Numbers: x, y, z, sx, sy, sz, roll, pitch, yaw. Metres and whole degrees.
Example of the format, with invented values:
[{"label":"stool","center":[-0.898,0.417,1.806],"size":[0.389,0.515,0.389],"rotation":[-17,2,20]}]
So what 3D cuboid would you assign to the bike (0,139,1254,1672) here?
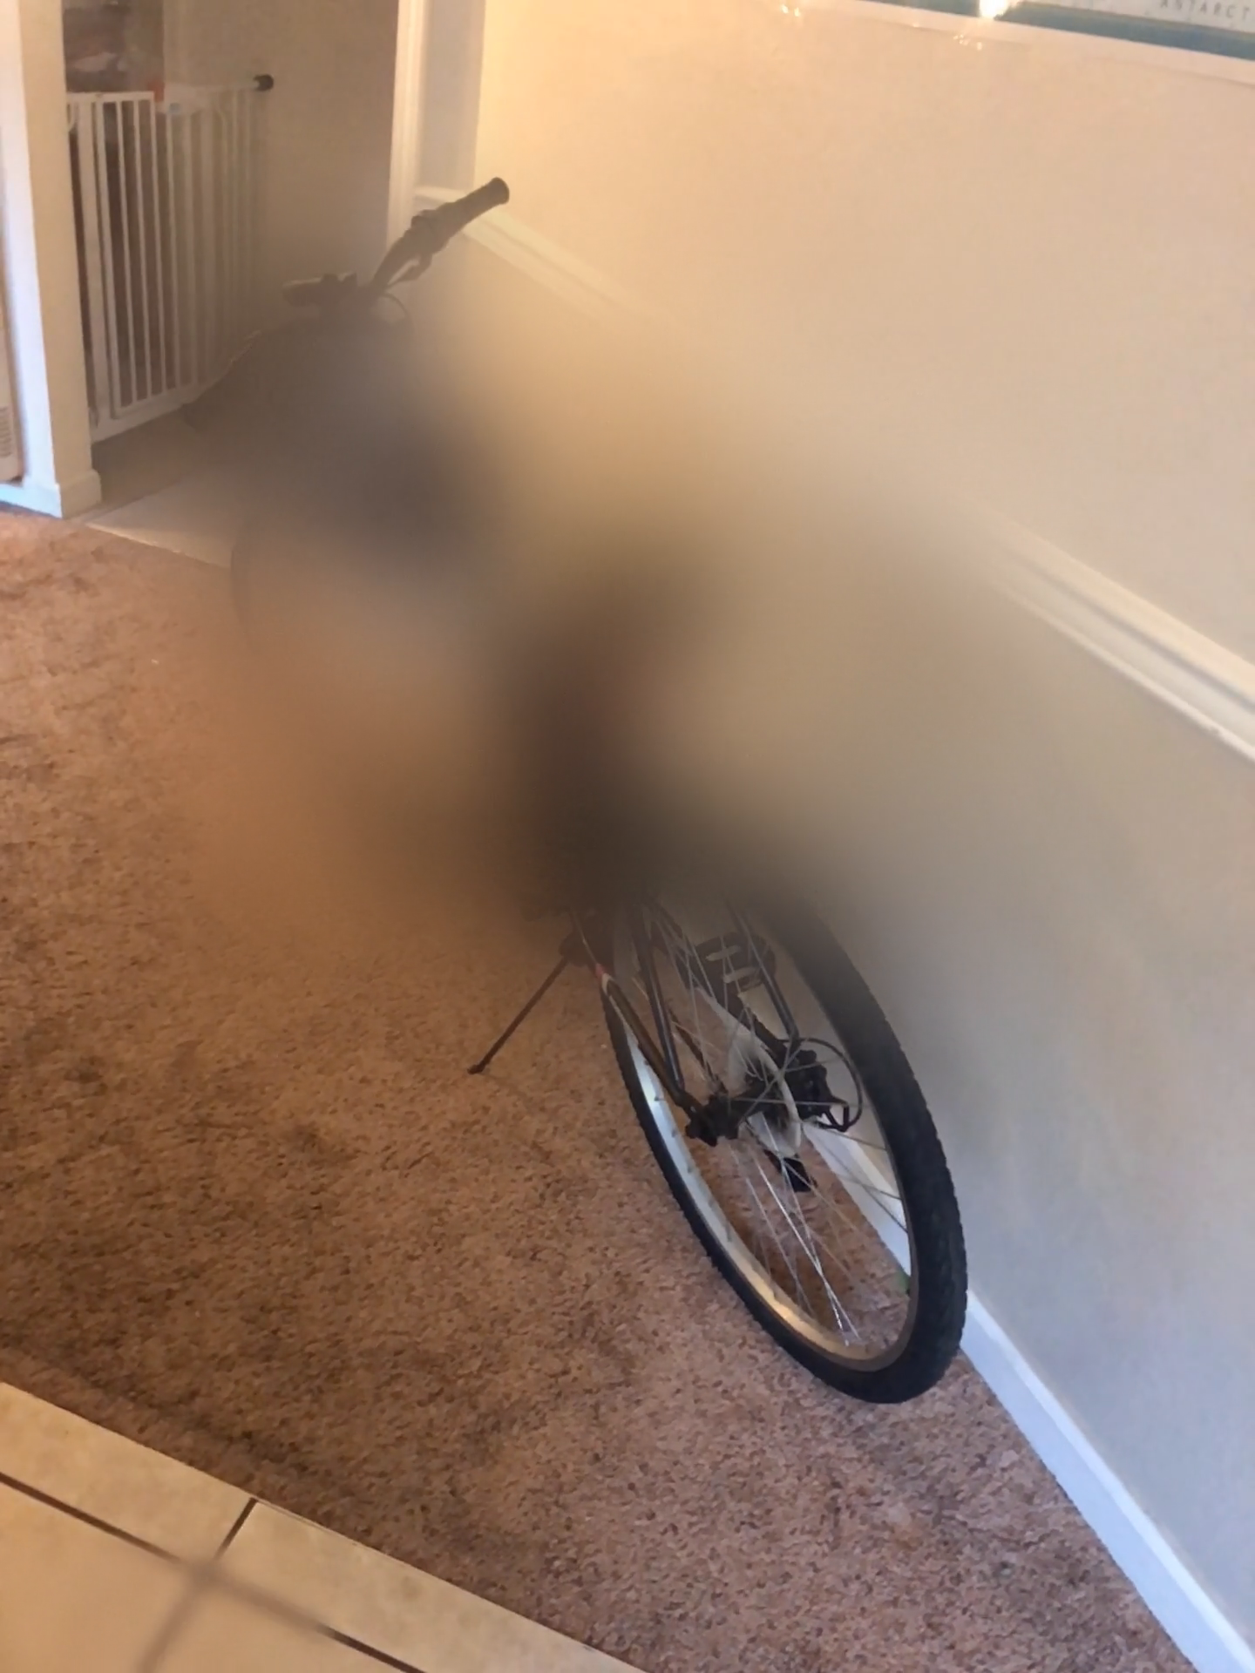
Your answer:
[{"label":"bike","center":[-0.219,-0.116,1.876],"size":[0.680,1.177,1.872],"rotation":[-15,40,-32]}]
